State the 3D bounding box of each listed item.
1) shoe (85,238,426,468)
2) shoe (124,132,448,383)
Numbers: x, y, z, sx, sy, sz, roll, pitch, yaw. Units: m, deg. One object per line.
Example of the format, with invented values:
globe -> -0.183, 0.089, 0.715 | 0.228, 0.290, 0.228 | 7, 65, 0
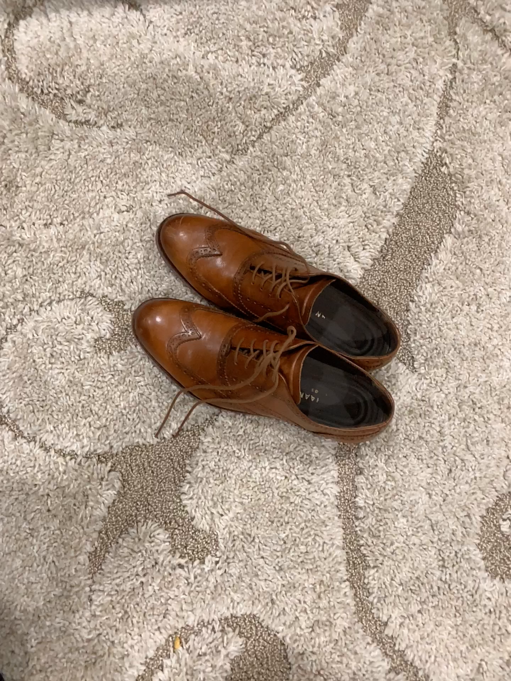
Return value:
shoe -> -0.002, 0.022, 0.518 | 0.280, 0.132, 0.105 | 22, 77, -1
shoe -> 0.025, -0.074, 0.541 | 0.282, 0.132, 0.105 | 27, 77, 0
